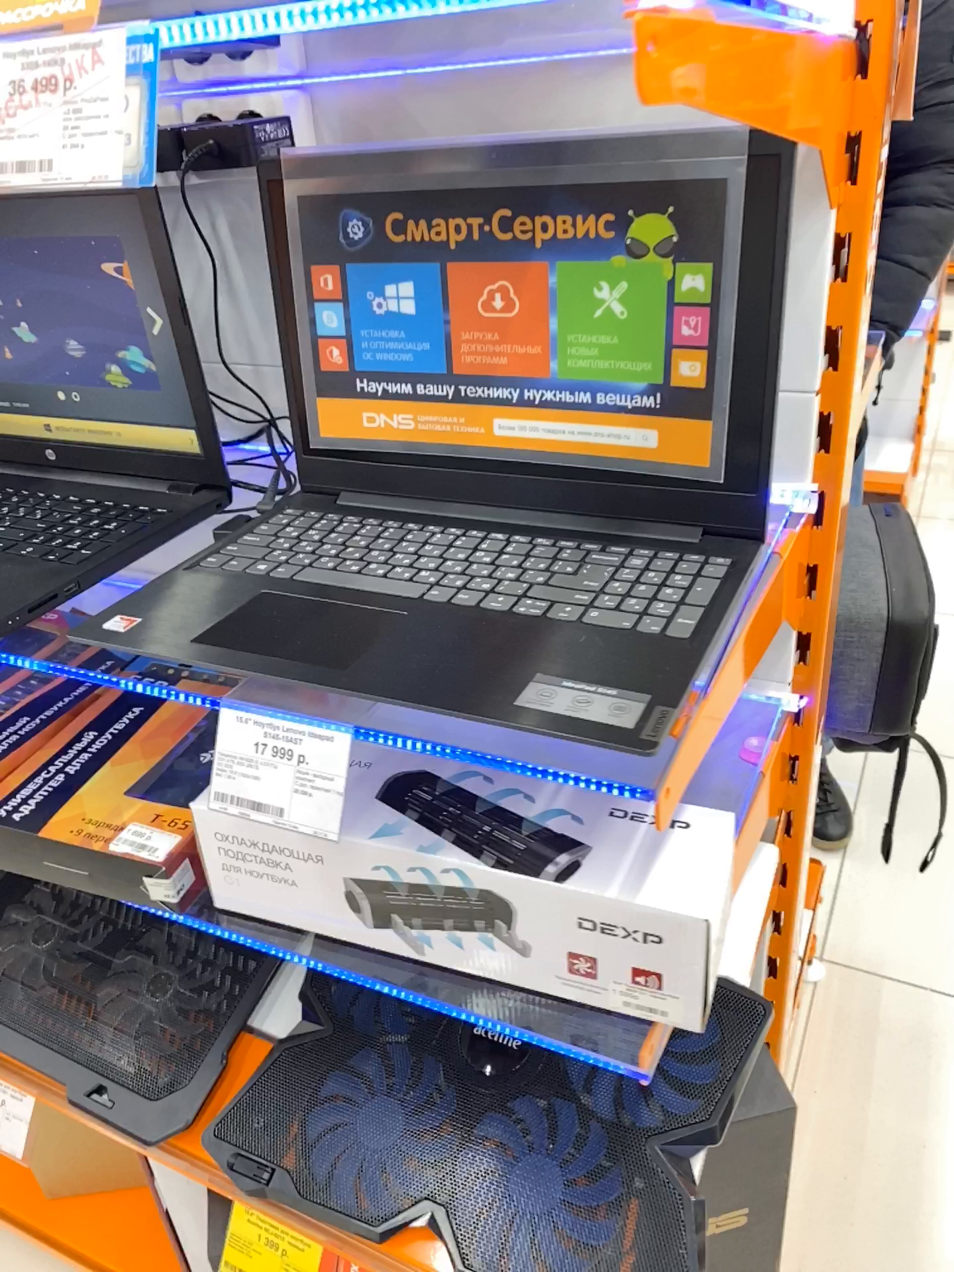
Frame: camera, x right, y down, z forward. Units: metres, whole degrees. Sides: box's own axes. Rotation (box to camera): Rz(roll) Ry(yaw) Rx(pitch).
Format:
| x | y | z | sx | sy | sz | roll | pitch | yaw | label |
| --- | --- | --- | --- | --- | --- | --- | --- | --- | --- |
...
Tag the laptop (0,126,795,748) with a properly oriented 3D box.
| x | y | z | sx | sy | sz | roll | pitch | yaw | label |
| --- | --- | --- | --- | --- | --- | --- | --- | --- | --- |
| -0.036 | -0.139 | 0.556 | 0.357 | 0.236 | 0.266 | 9 | 31 | 24 | laptop |
